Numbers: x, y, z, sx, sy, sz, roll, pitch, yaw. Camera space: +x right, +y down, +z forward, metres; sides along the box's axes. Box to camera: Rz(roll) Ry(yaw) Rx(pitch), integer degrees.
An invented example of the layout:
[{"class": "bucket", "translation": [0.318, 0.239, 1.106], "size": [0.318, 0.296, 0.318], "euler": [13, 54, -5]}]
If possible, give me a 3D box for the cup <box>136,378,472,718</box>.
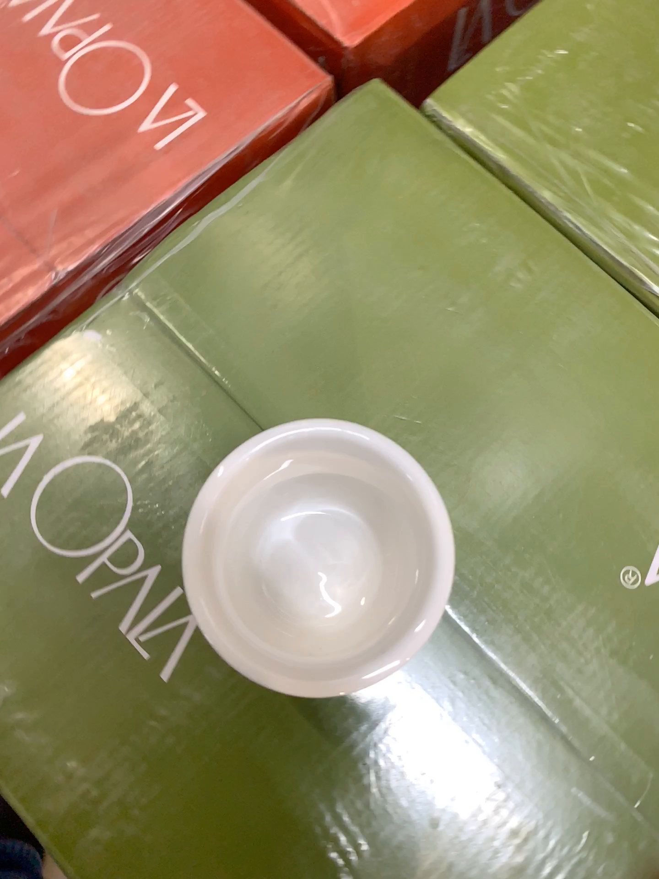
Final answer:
[{"class": "cup", "translation": [-0.008, 0.031, 0.190], "size": [0.070, 0.060, 0.070], "euler": [0, 74, -1]}]
